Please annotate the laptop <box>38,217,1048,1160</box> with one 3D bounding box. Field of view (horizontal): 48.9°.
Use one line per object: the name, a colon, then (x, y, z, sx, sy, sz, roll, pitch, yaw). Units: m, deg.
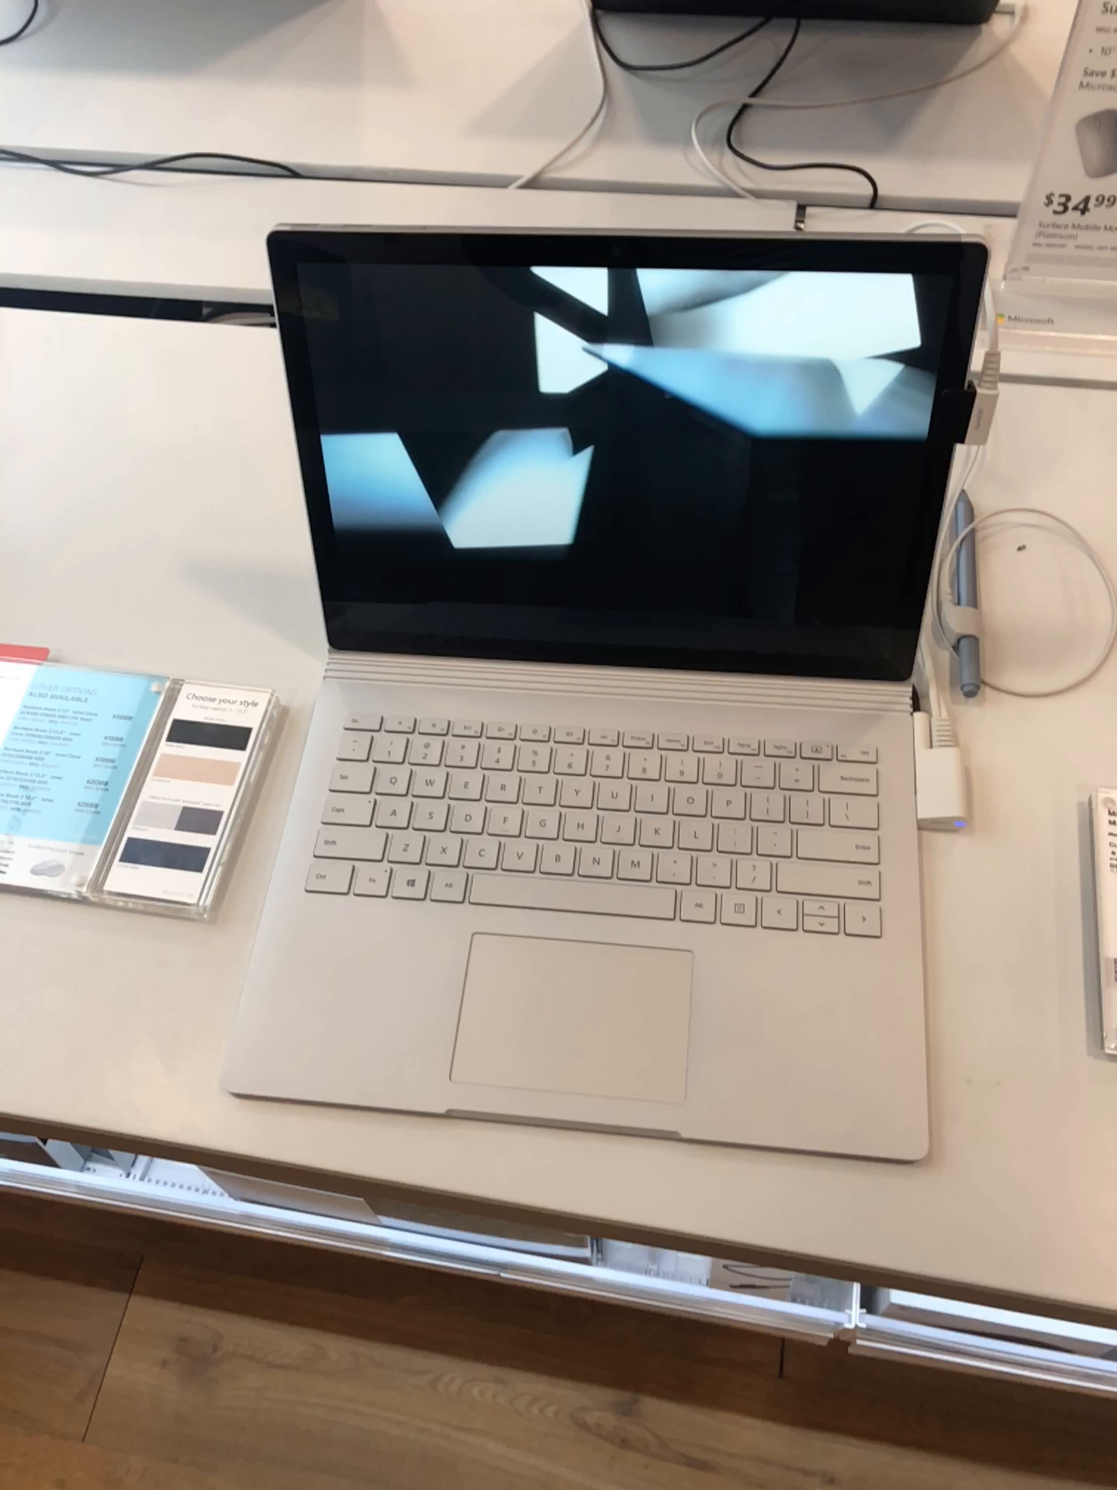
laptop: (0.011, -0.028, 0.508, 0.291, 0.191, 0.312, 4, 60, 6)
